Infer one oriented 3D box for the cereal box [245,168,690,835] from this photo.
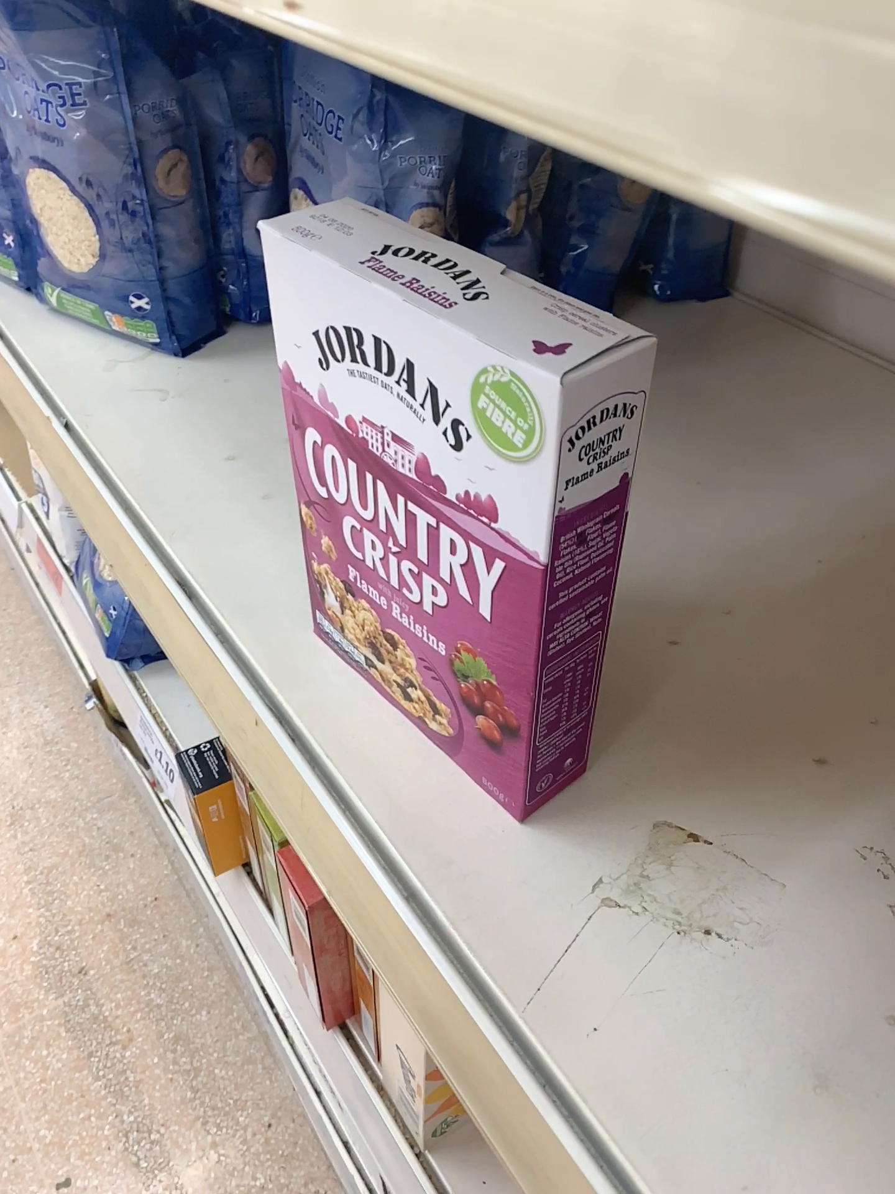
[{"bbox_3d":[-0.004,-0.037,0.423,0.050,0.248,0.191,-30,51,-30],"label":"cereal box"}]
